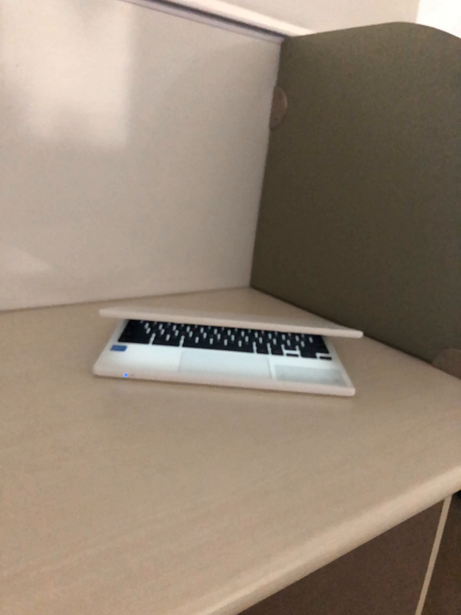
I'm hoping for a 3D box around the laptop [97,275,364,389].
[{"bbox_3d":[-0.001,0.022,0.643,0.282,0.055,0.192,5,17,-2],"label":"laptop"}]
